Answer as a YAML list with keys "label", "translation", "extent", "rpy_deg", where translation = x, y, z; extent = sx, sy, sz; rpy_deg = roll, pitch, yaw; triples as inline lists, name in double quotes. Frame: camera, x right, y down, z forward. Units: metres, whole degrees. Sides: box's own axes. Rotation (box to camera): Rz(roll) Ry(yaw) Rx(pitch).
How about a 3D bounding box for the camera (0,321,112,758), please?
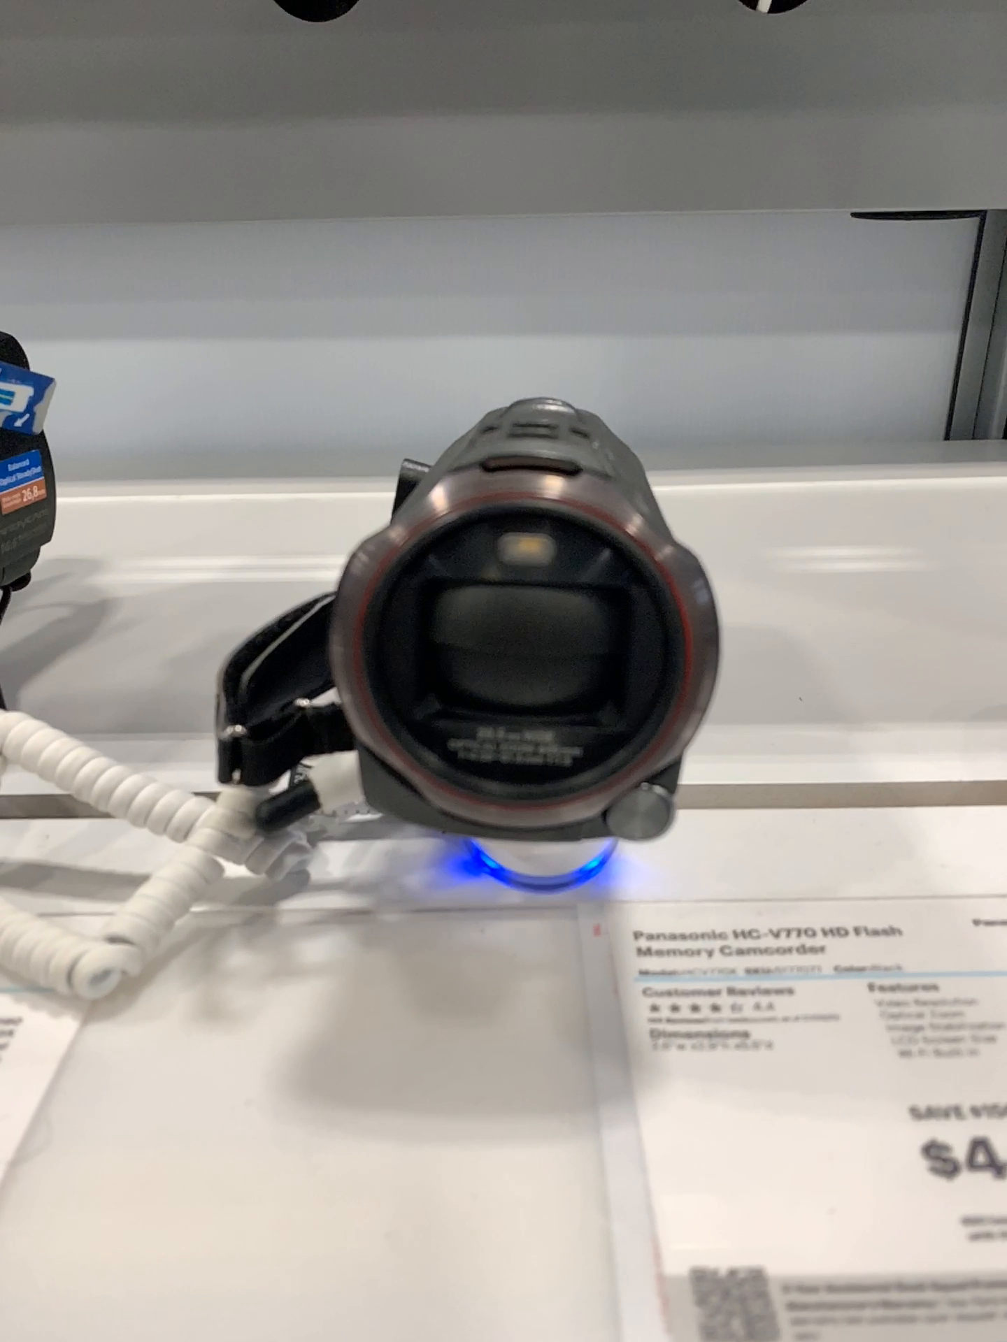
- label: "camera"
  translation: [-0.178, -0.049, 0.273]
  extent: [0.071, 0.073, 0.167]
  rpy_deg: [2, 22, 4]

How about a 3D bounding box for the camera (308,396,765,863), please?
- label: "camera"
  translation: [0.006, -0.022, 0.222]
  extent: [0.065, 0.061, 0.139]
  rpy_deg: [0, 19, 1]
